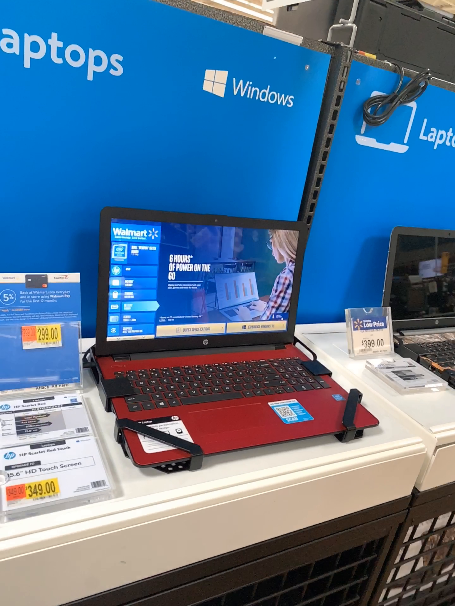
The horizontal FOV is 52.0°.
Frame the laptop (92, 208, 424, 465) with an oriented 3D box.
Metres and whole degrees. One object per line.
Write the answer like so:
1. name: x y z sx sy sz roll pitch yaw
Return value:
1. laptop: 0.020 0.019 0.682 0.364 0.223 0.280 -1 24 -27
